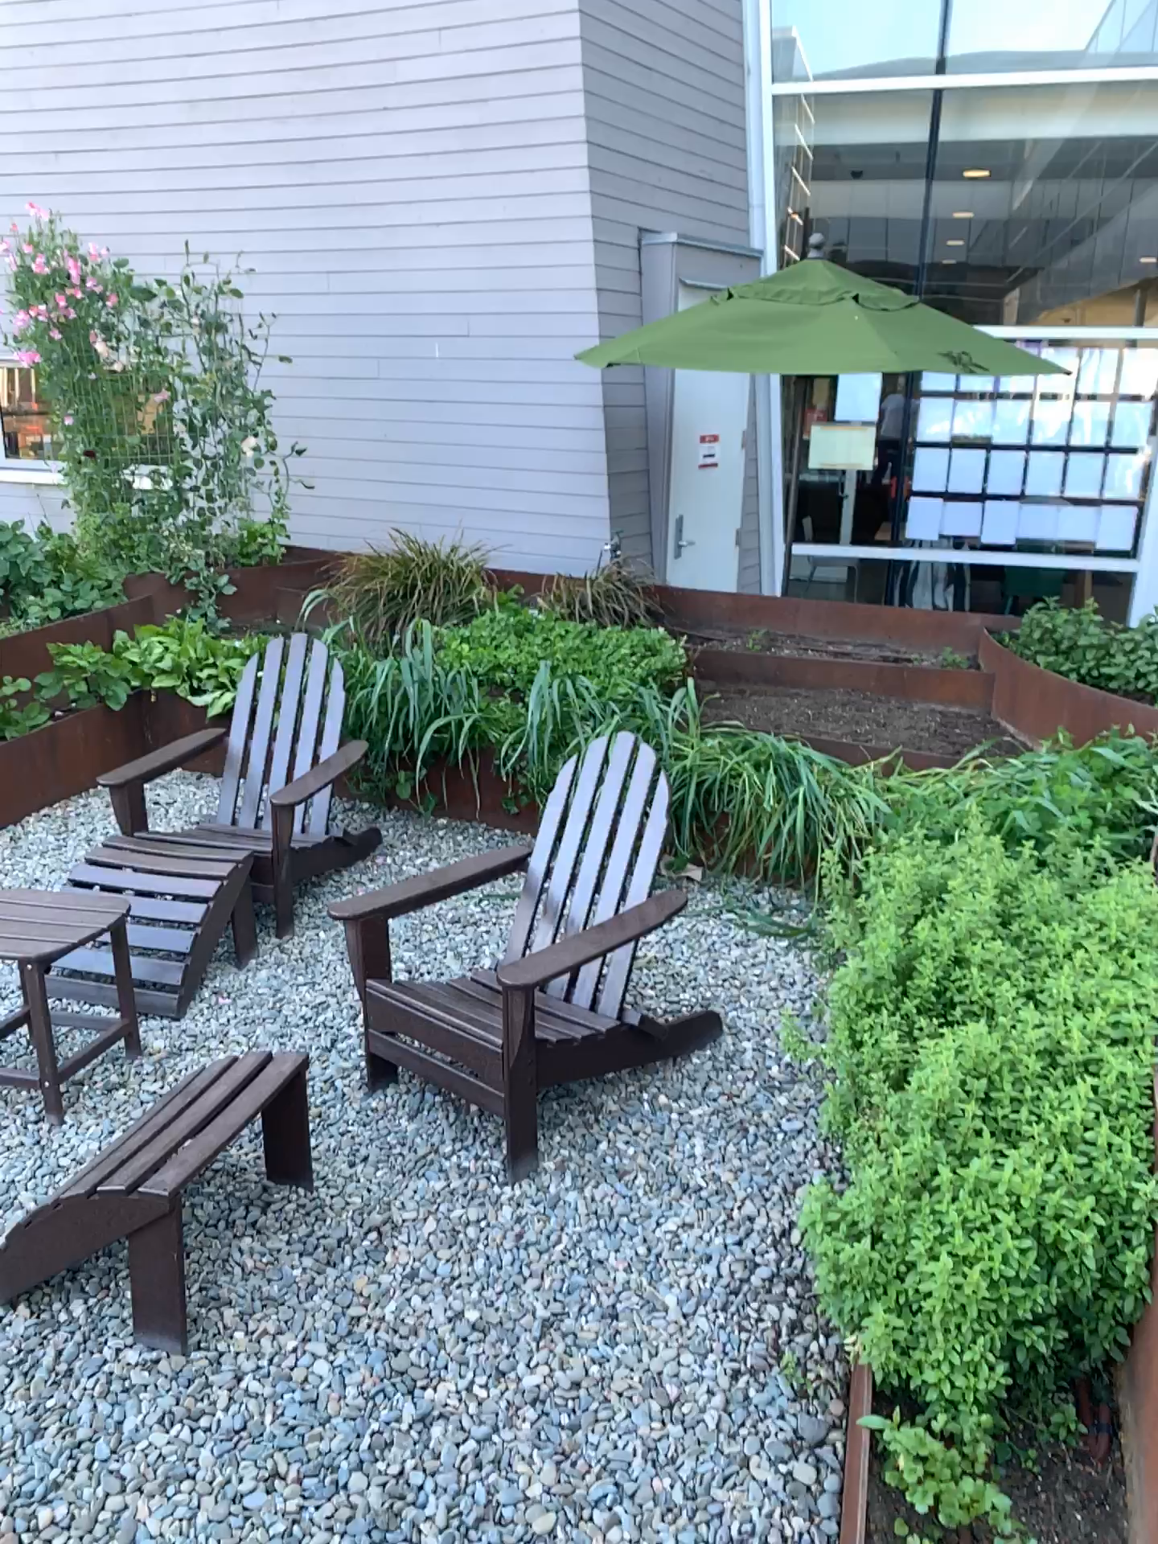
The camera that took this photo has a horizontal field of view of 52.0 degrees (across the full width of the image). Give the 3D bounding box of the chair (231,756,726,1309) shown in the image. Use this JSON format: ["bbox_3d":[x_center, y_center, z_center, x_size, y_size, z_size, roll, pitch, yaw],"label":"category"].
[{"bbox_3d":[-0.313,0.639,3.456,0.999,0.996,1.005,-11,22,-34],"label":"chair"}]
